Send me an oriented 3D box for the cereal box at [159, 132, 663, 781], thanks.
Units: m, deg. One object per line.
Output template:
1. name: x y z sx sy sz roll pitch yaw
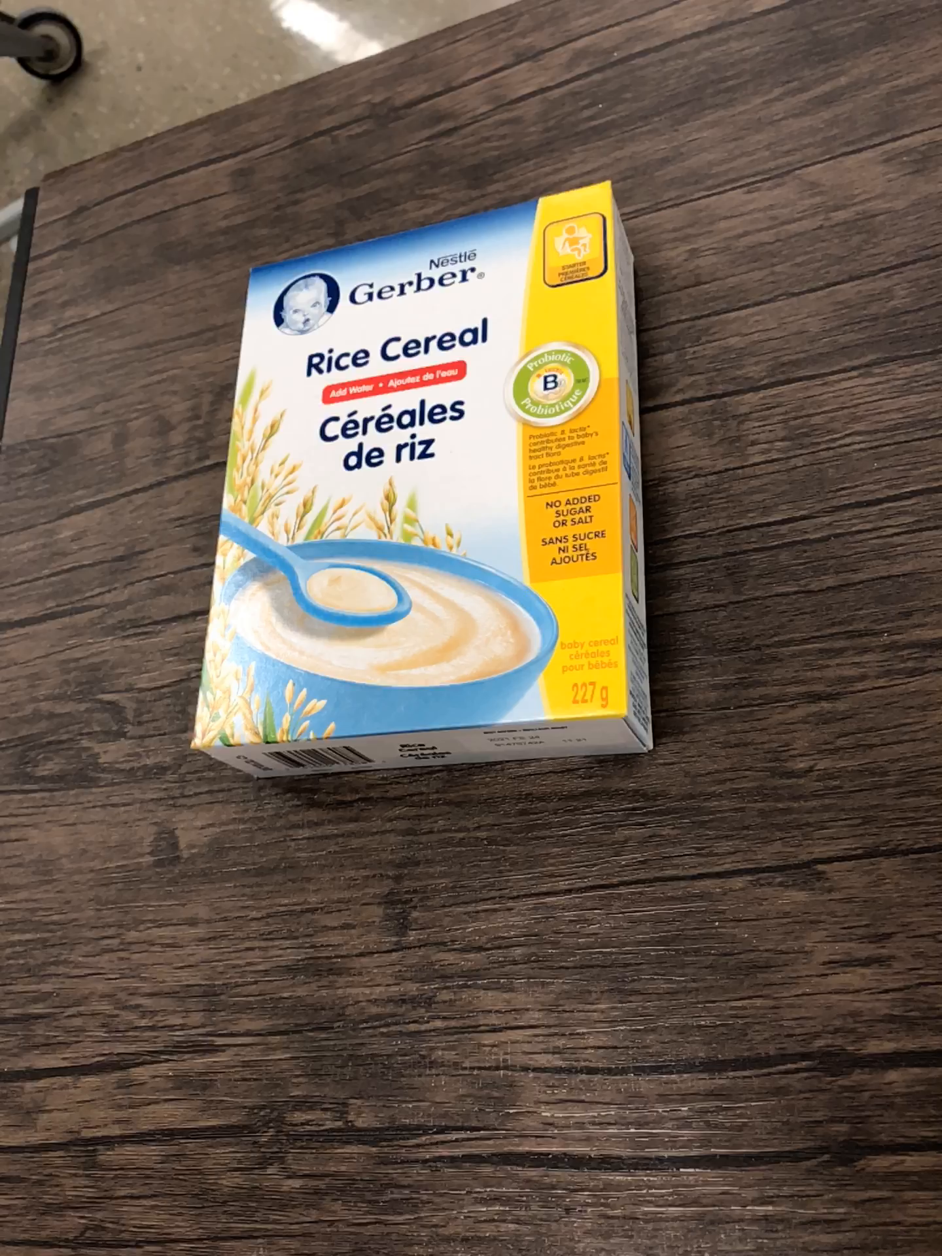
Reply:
1. cereal box: -0.018 -0.055 0.362 0.150 0.050 0.200 -6 69 20
